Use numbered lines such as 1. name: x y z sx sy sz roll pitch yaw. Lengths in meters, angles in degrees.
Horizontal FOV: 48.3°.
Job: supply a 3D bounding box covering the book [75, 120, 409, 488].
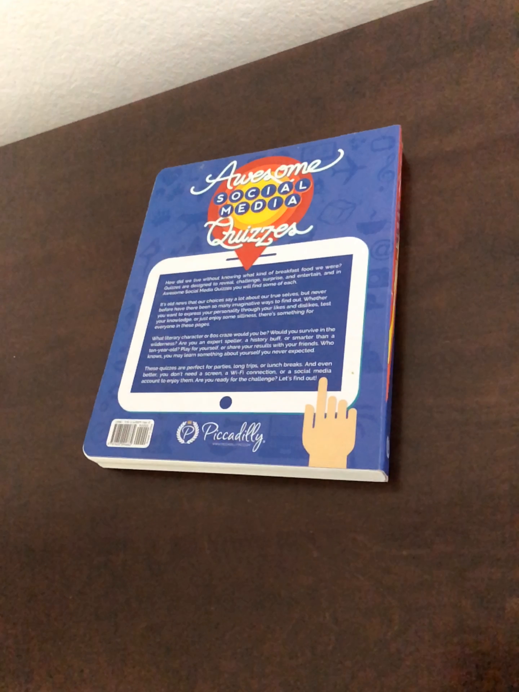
1. book: -0.004 -0.028 0.332 0.166 0.030 0.201 -2 64 23
